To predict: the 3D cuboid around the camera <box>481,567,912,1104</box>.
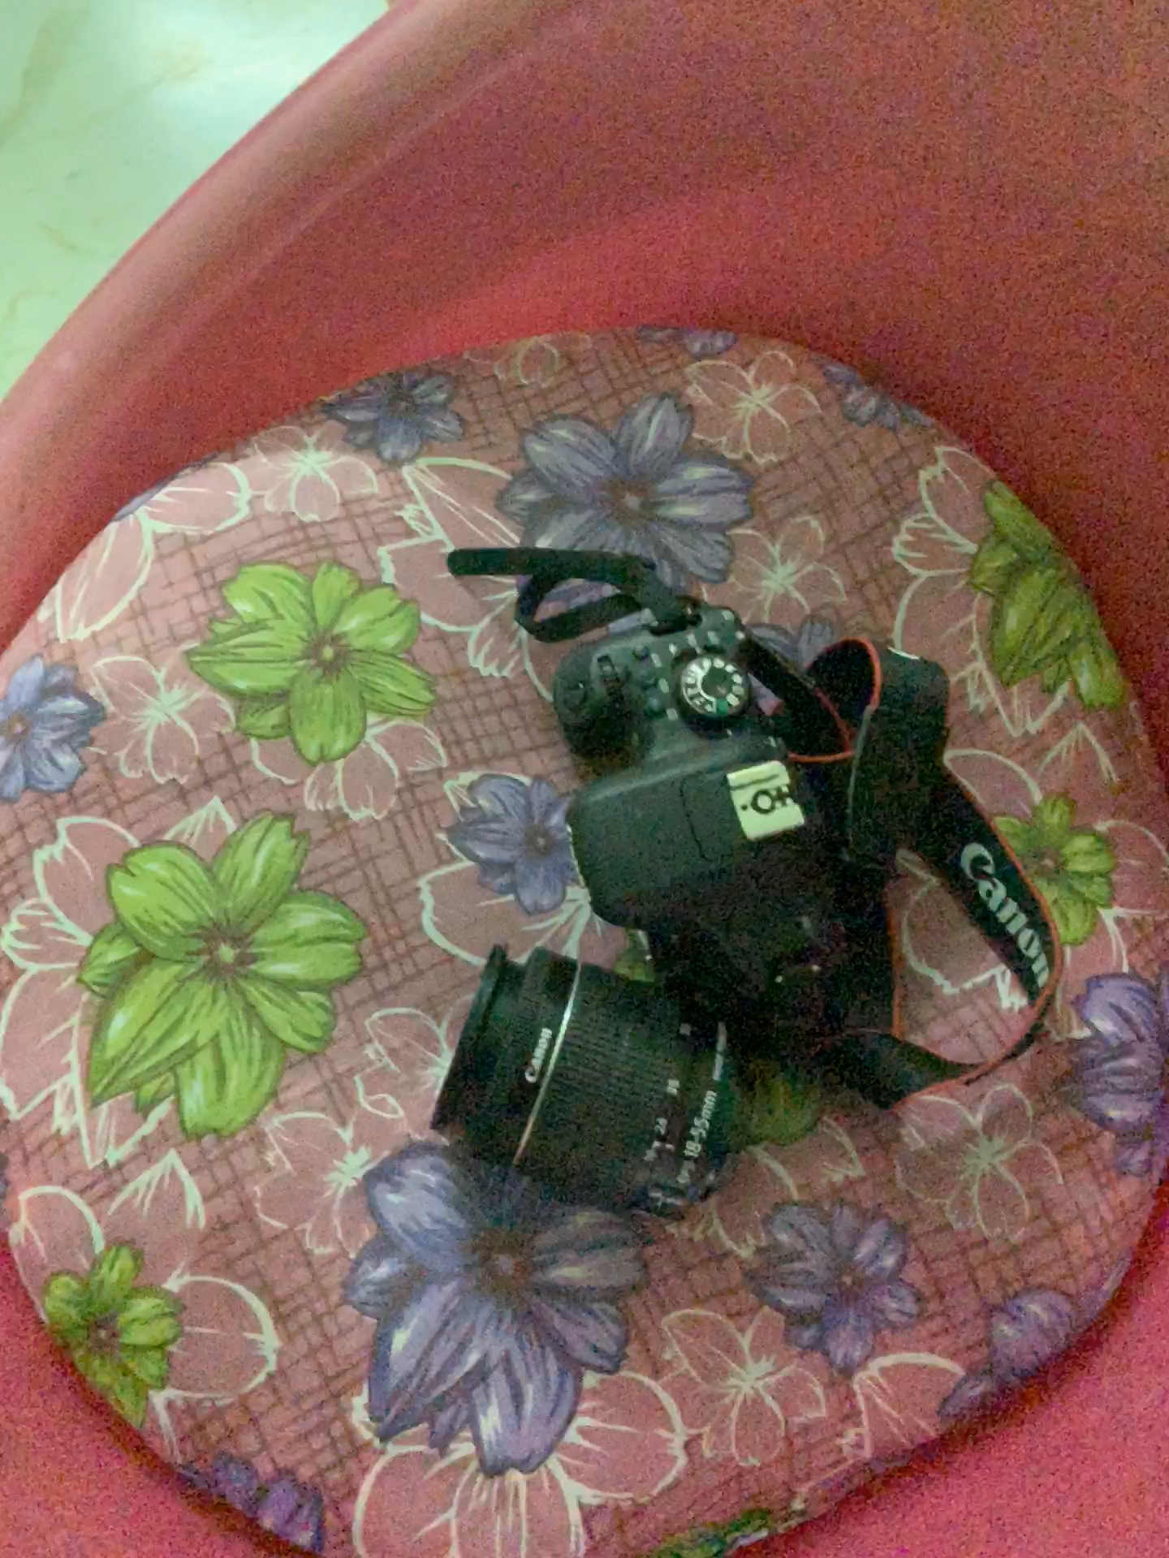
[{"bbox_3d":[0.031,0.021,0.397,0.086,0.079,0.143,-18,71,-4],"label":"camera"}]
